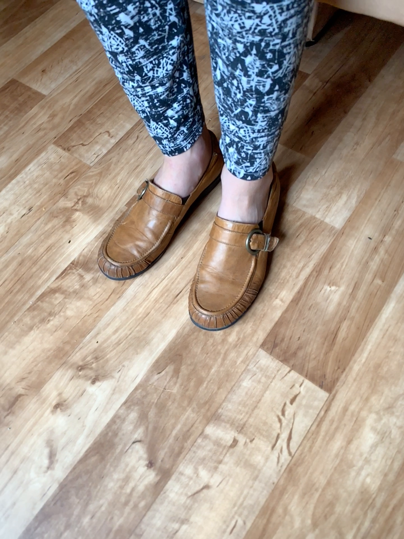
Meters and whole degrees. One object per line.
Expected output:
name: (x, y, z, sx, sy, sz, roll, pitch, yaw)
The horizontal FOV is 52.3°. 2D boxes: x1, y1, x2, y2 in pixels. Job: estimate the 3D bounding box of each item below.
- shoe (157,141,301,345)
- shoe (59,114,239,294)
shoe: (0.035, -0.032, 0.430, 0.080, 0.070, 0.190, 17, 66, 15)
shoe: (-0.051, -0.077, 0.468, 0.080, 0.070, 0.190, 37, 73, 22)
